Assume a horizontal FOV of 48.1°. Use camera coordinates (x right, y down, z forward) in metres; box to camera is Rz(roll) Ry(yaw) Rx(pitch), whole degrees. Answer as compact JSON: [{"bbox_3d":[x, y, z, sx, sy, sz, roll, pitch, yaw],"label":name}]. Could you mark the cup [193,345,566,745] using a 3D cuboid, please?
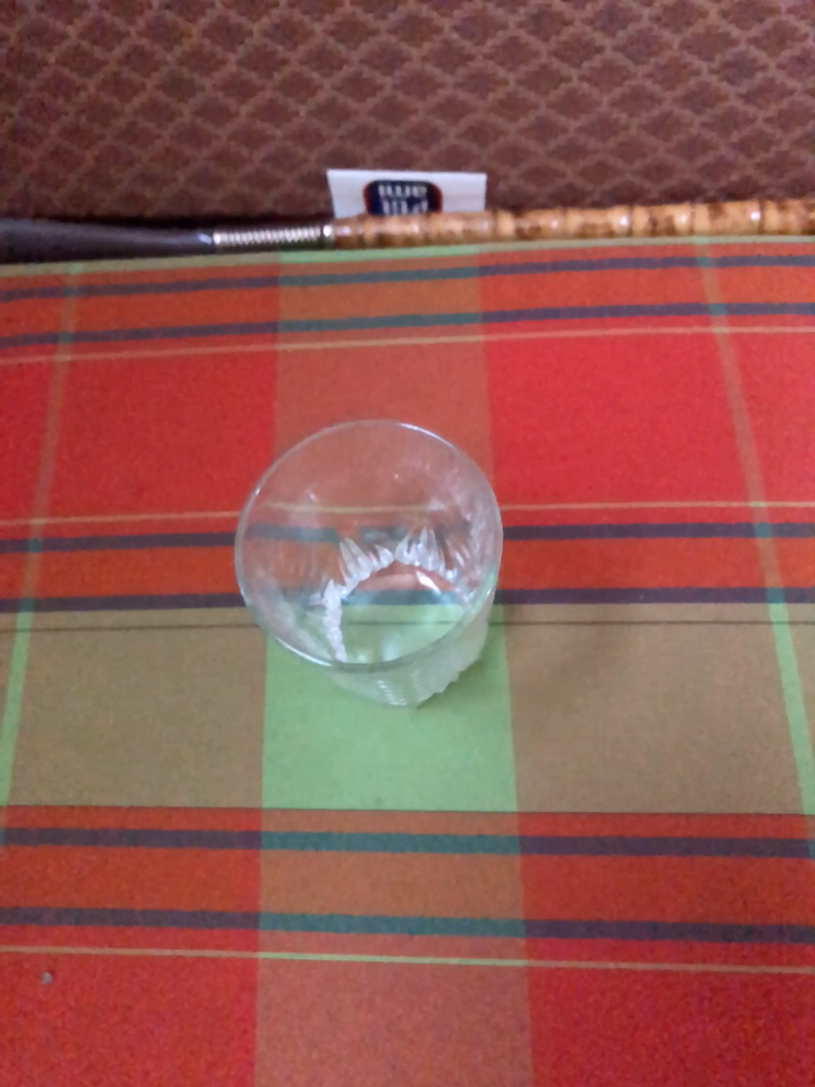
[{"bbox_3d":[-0.004,0.006,0.257,0.070,0.080,0.070,-2,72,6],"label":"cup"}]
